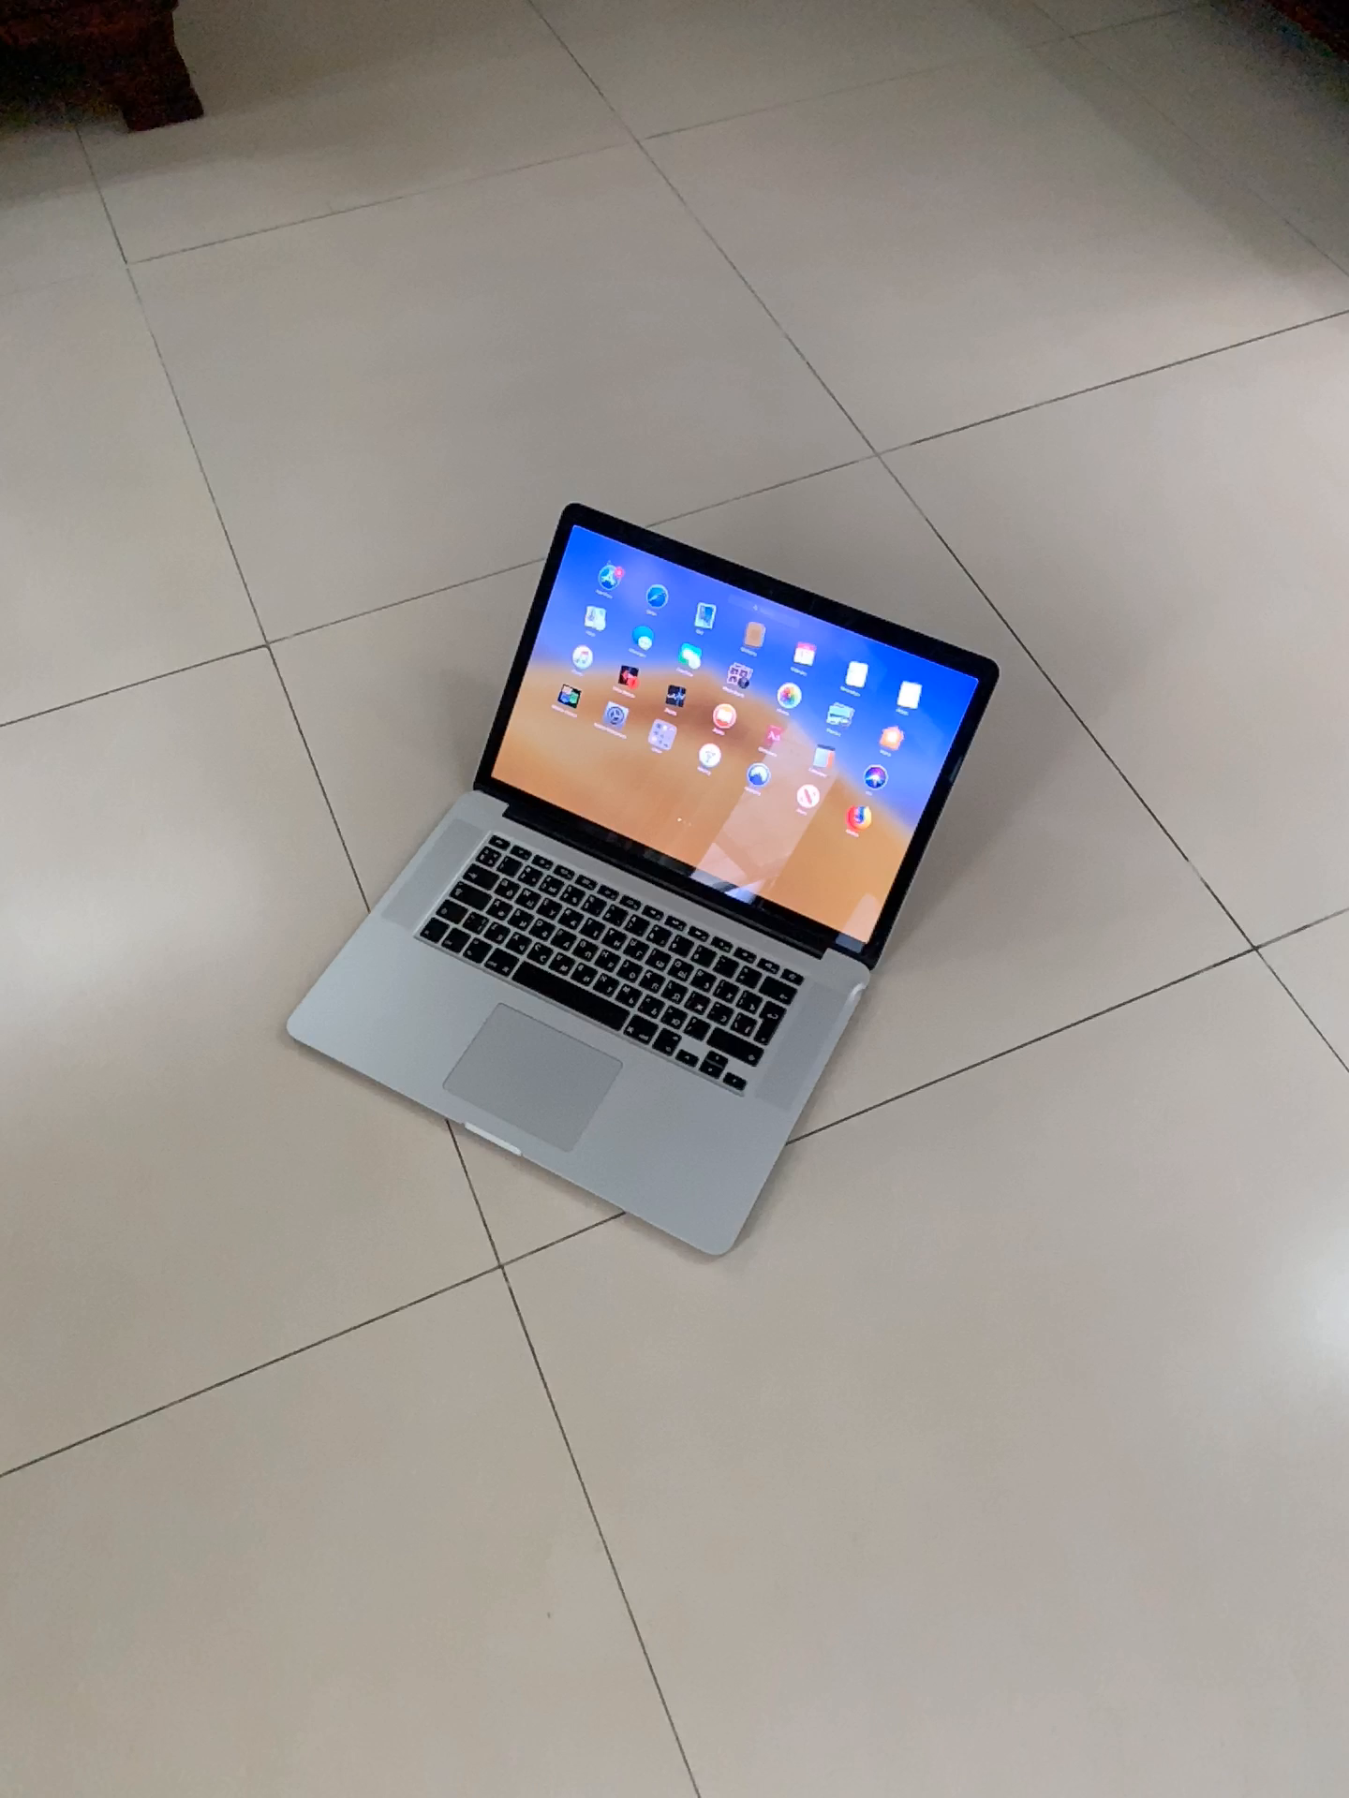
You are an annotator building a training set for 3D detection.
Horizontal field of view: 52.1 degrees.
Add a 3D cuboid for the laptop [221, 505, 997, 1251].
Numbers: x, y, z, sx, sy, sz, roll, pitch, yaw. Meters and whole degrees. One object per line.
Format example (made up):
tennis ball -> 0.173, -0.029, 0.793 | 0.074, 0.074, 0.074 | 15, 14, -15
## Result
laptop -> -0.027, -0.035, 0.979 | 0.352, 0.162, 0.416 | 24, 60, 14
